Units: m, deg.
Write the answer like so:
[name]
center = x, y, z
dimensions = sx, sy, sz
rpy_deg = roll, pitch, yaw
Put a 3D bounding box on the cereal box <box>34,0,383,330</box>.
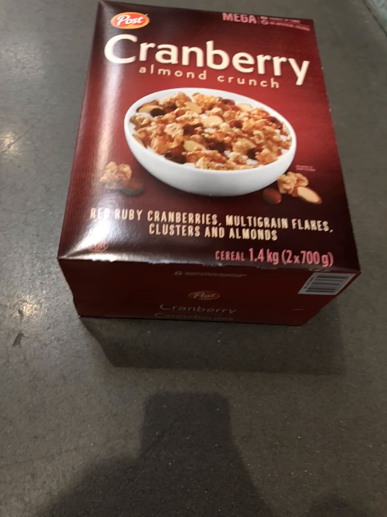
[cereal box]
center = 0.007, -0.099, 0.443
dimensions = 0.260, 0.130, 0.311
rpy_deg = 2, 64, -6
